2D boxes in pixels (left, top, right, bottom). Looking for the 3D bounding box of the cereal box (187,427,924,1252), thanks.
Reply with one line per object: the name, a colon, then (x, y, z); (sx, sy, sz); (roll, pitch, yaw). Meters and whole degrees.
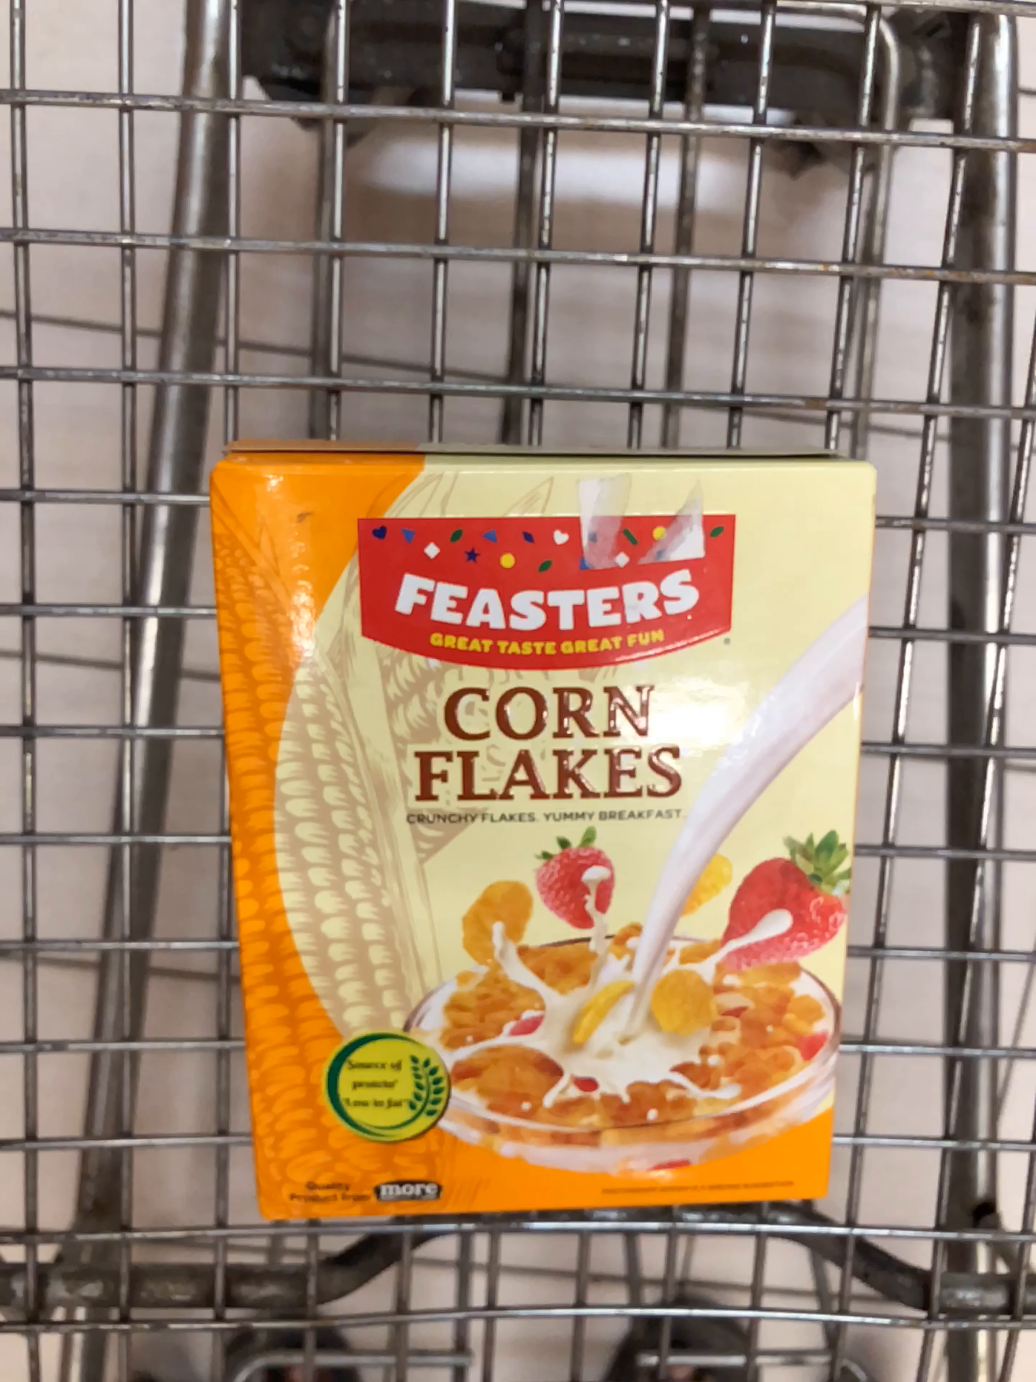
cereal box: (0.006, 0.032, 0.273); (0.140, 0.060, 0.180); (0, 105, -2)
